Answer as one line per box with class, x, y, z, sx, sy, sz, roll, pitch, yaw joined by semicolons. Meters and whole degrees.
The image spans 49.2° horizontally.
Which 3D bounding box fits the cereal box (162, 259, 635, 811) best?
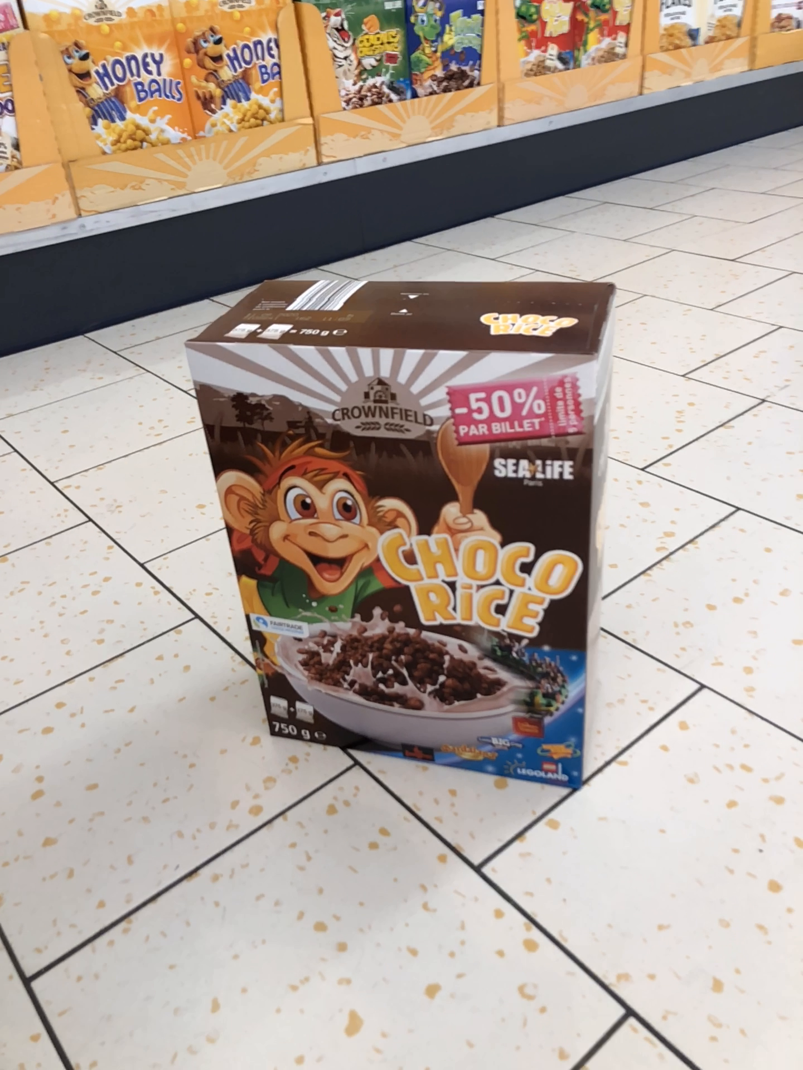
cereal box;0.012;0.000;0.479;0.200;0.268;0.101;6;33;17
